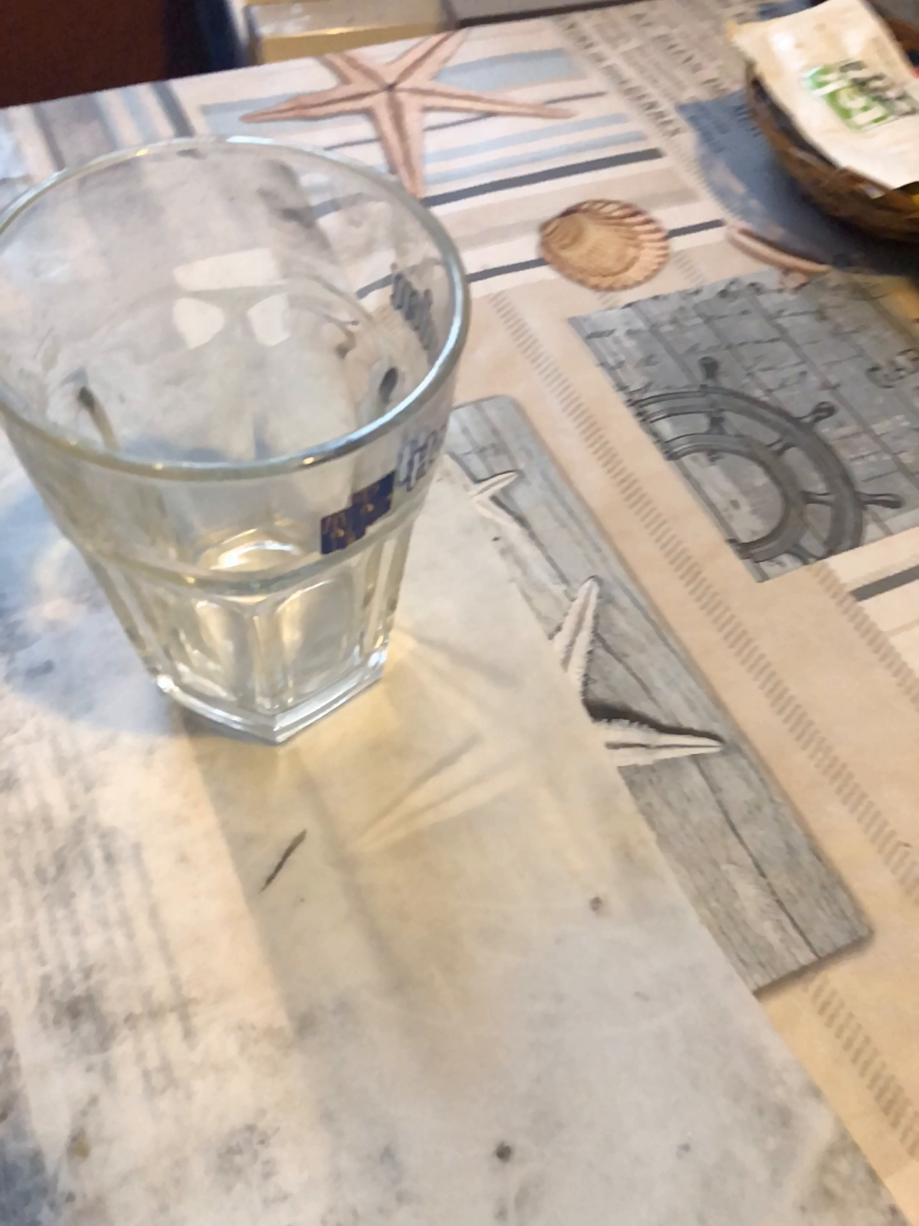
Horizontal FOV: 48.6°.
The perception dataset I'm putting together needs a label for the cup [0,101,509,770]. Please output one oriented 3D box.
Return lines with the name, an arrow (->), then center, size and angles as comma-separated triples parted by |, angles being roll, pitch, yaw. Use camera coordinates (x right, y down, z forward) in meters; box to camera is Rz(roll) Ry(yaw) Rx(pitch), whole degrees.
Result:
cup -> -0.046, -0.033, 0.247 | 0.098, 0.123, 0.099 | 3, 60, -4
